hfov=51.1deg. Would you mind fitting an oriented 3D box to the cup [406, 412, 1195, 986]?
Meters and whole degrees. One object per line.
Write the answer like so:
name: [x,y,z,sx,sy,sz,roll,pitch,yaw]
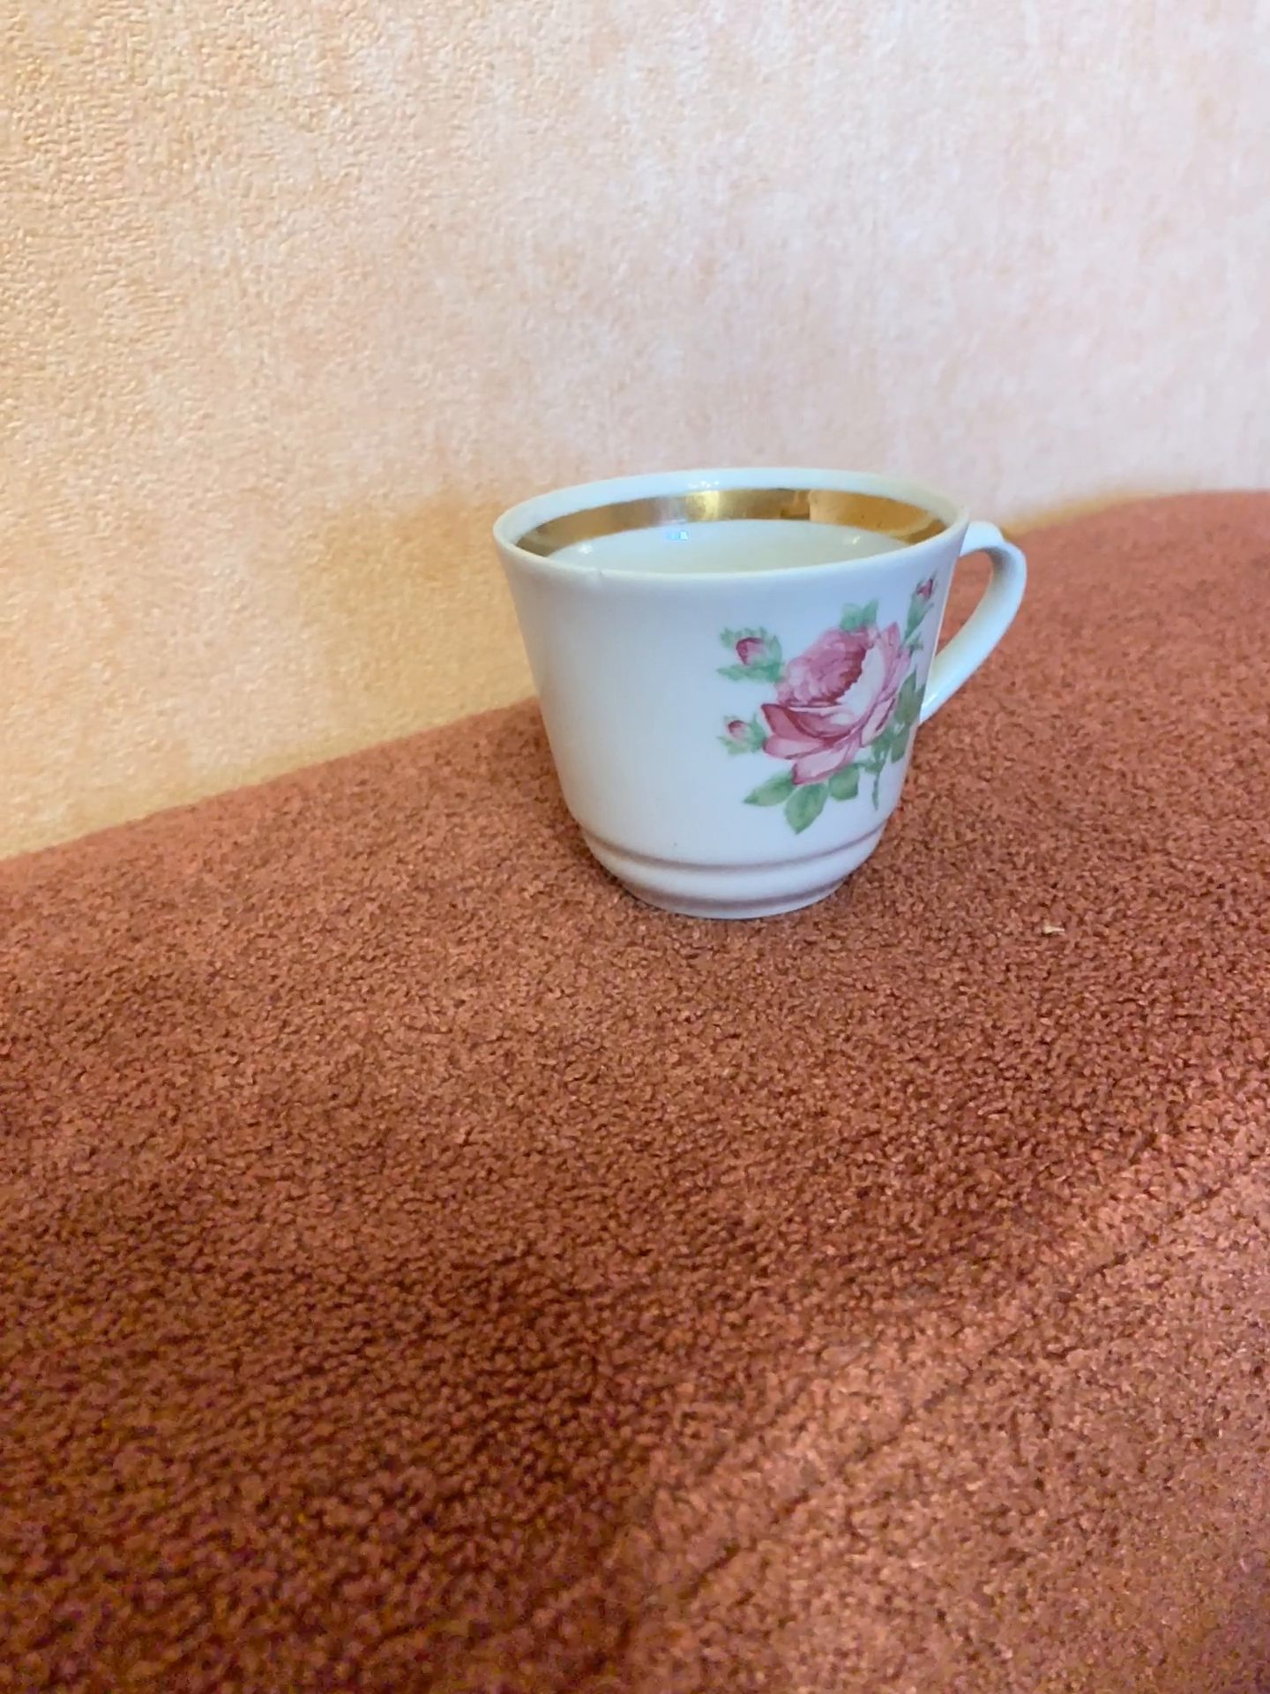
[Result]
cup: [0.021,-0.028,0.194,0.086,0.047,0.067,-16,31,-21]
